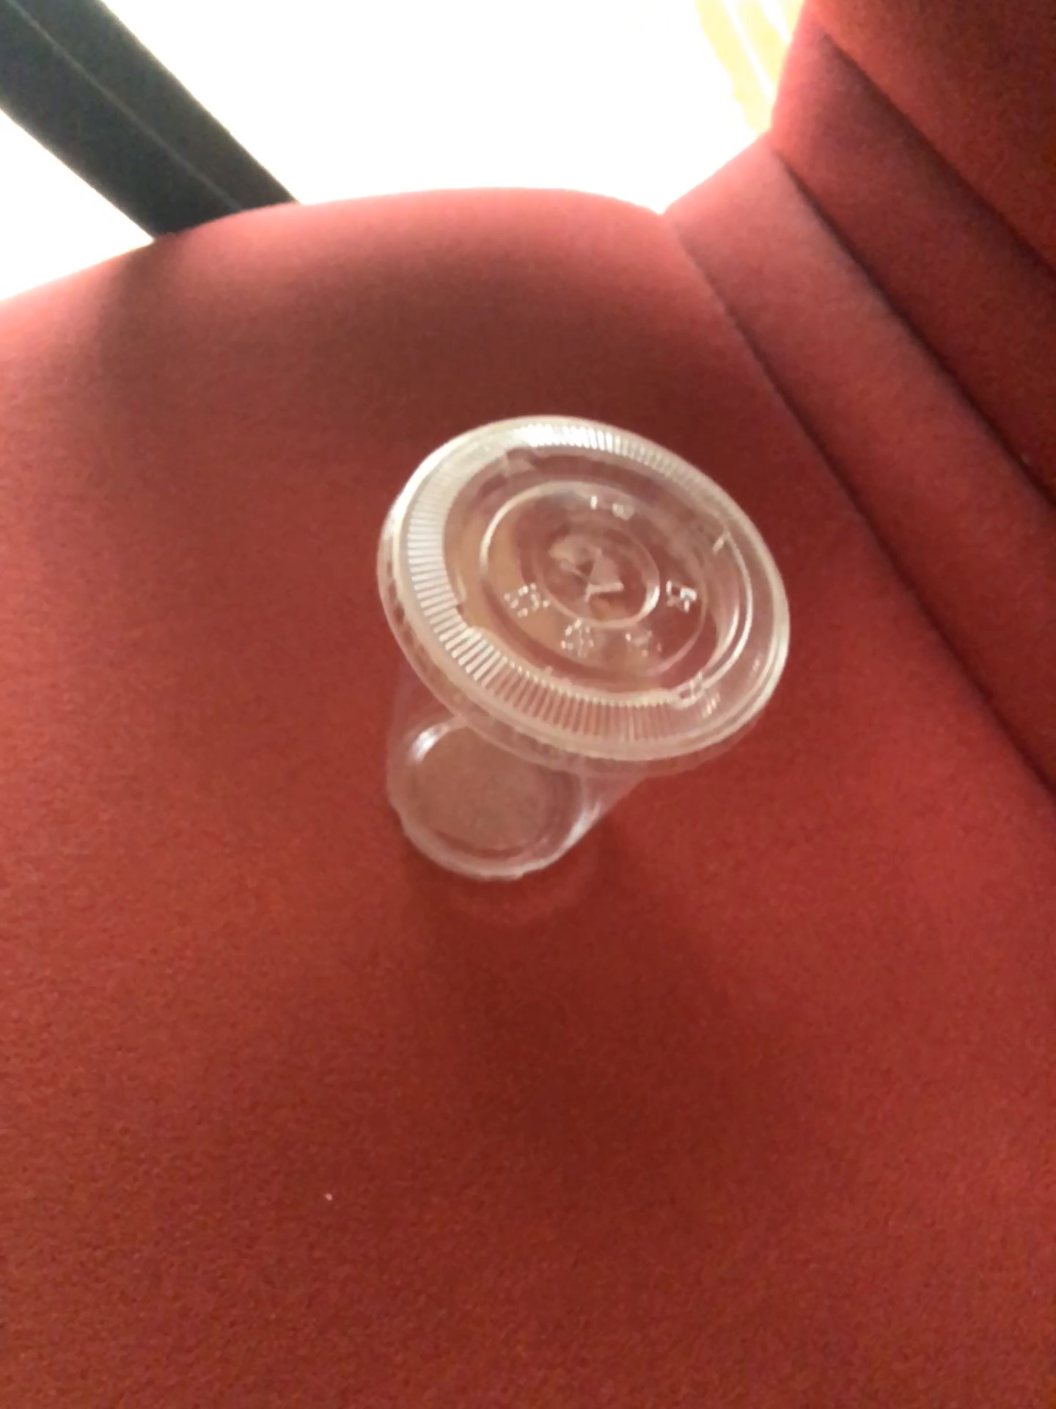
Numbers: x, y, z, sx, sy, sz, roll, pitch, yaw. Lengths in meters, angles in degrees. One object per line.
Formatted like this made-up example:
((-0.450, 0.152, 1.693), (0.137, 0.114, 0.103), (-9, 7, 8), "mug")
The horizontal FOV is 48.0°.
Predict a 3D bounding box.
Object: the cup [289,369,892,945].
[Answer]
((0.006, -0.013, 0.296), (0.100, 0.090, 0.100), (9, 57, -13), "cup")
